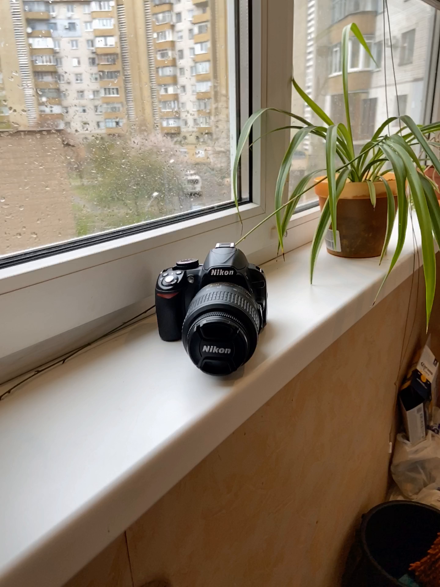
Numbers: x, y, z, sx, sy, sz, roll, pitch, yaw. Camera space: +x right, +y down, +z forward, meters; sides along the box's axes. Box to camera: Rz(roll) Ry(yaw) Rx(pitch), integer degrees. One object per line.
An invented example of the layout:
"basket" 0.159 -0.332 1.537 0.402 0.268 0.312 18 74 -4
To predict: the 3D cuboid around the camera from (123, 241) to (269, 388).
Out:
"camera" -0.013 0.012 0.460 0.121 0.092 0.159 0 21 5
